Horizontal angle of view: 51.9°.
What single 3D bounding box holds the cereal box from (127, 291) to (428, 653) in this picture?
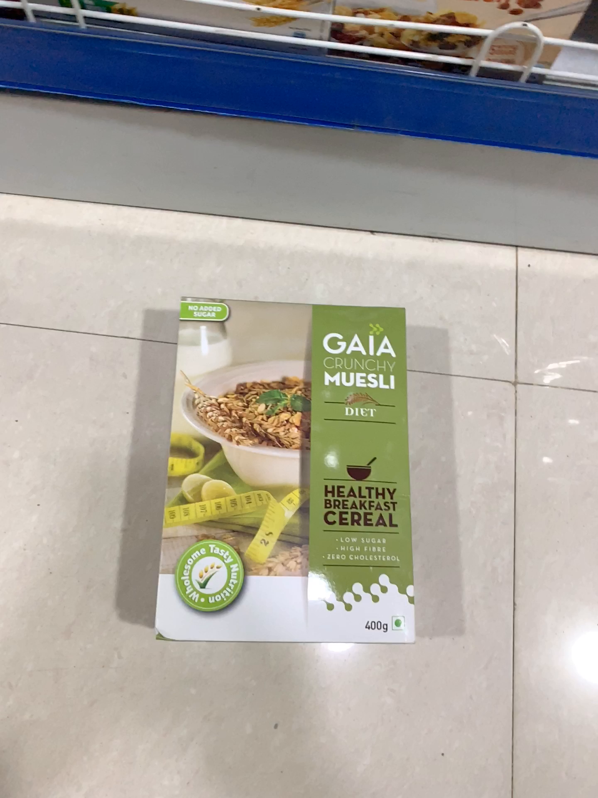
[{"bbox_3d":[-0.013,0.049,0.430,0.180,0.070,0.230,2,76,-3],"label":"cereal box"}]
